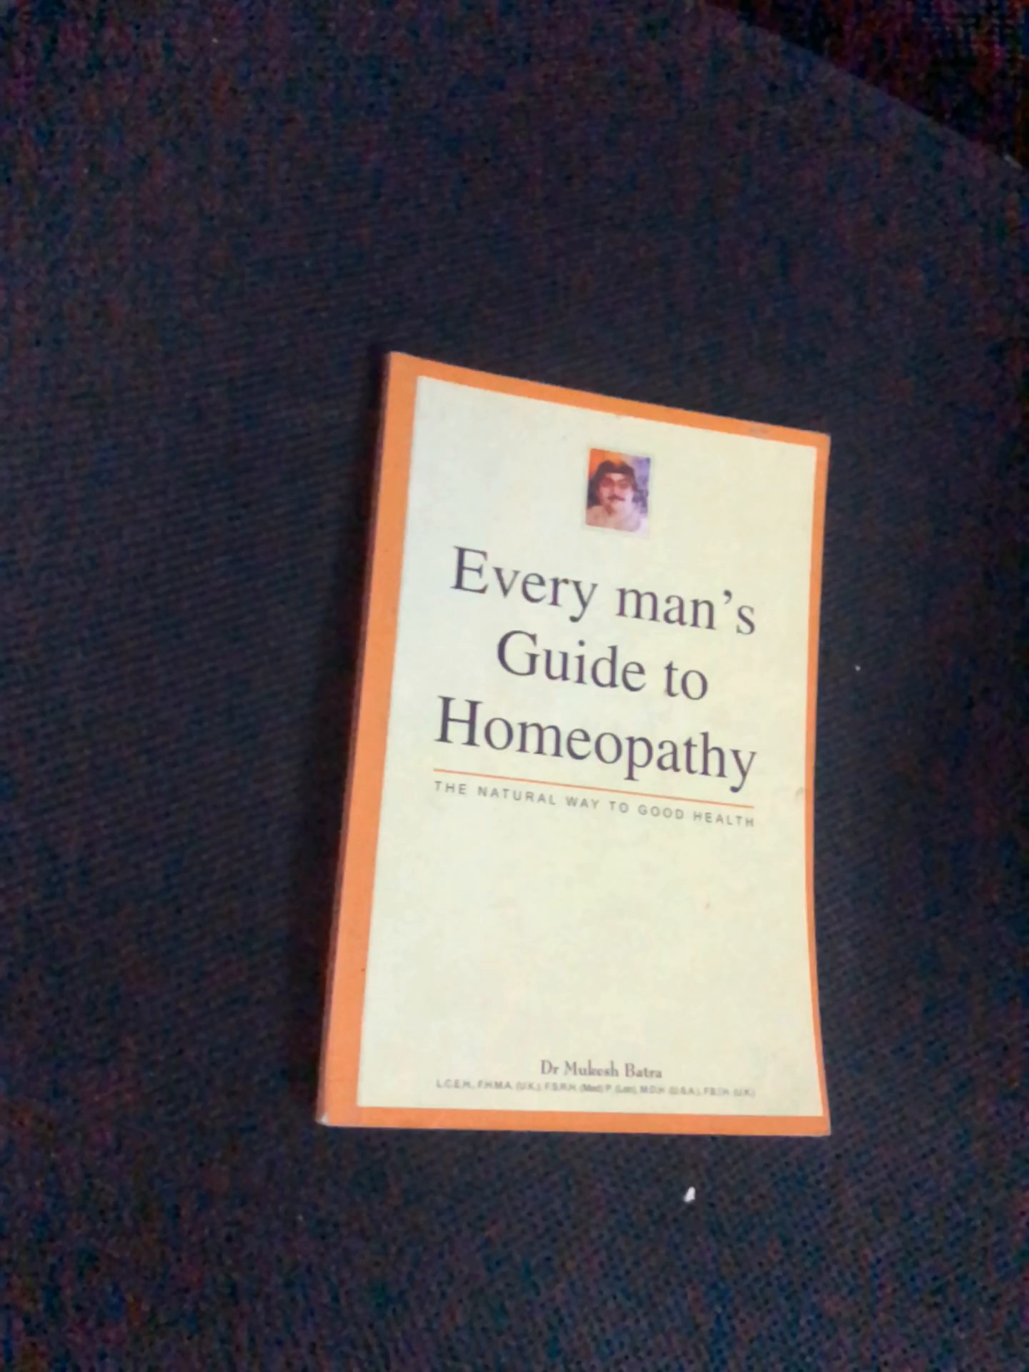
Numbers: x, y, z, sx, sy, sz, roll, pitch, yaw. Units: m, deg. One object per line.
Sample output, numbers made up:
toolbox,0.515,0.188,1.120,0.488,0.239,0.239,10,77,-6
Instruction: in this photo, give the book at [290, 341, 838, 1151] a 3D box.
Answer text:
book,0.021,0.016,0.321,0.140,0.026,0.207,8,75,-13
